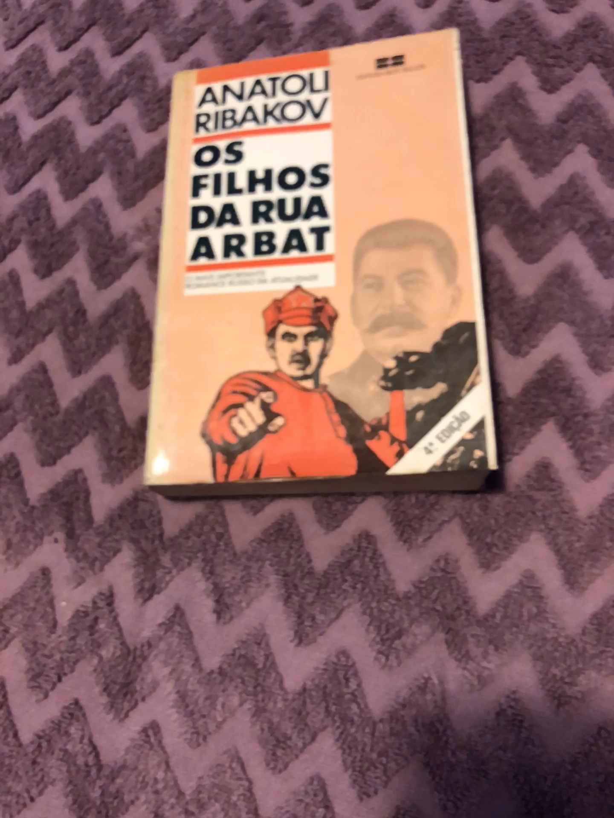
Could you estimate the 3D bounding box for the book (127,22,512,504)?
[{"bbox_3d":[0.003,-0.060,0.294,0.140,0.040,0.190,-4,75,9],"label":"book"}]
